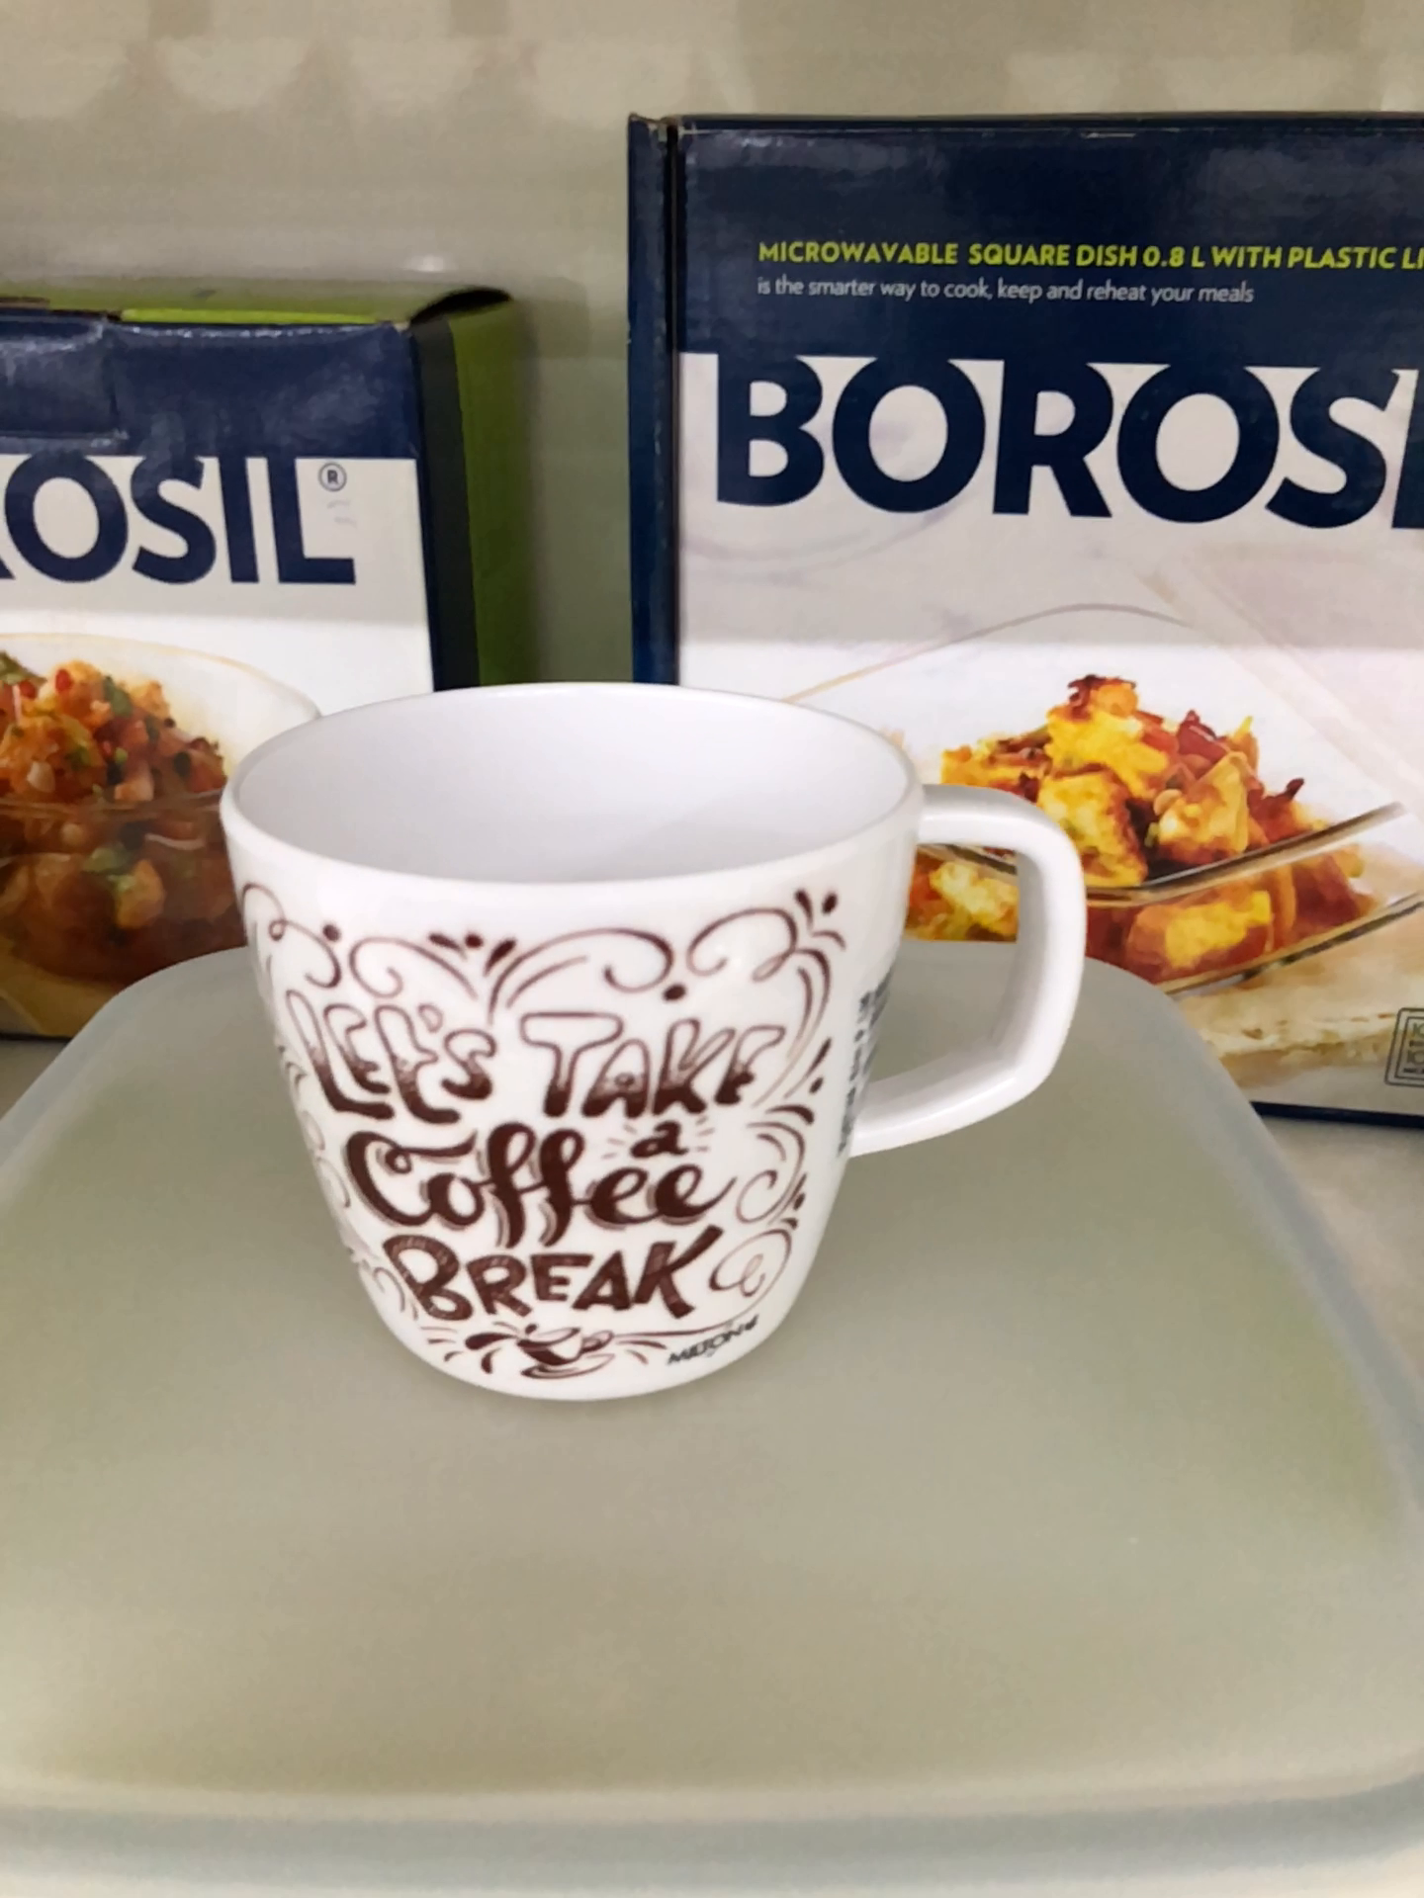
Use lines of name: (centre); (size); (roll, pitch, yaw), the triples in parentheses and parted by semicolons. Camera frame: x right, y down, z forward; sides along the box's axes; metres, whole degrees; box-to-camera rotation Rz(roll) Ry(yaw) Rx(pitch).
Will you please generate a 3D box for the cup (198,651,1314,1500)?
cup: (0.002, 0.008, 0.186); (0.100, 0.070, 0.070); (-2, 23, -6)
